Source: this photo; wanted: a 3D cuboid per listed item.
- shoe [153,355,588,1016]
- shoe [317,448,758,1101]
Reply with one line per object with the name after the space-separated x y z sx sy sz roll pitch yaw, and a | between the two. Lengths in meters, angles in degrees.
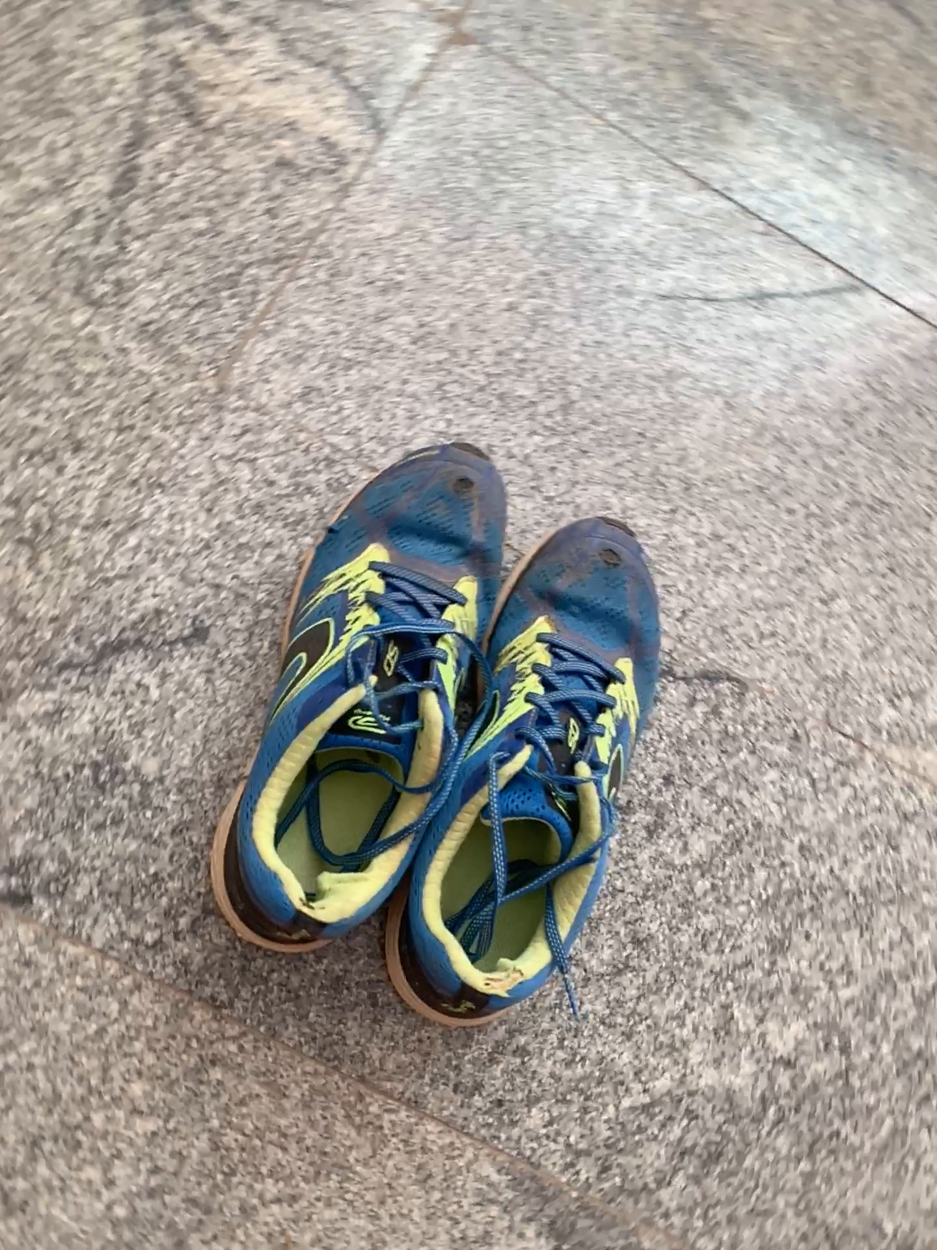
-0.042 0.024 0.471 0.100 0.060 0.291 26 74 -19 | shoe
0.039 0.067 0.489 0.110 0.060 0.291 27 75 -9 | shoe
